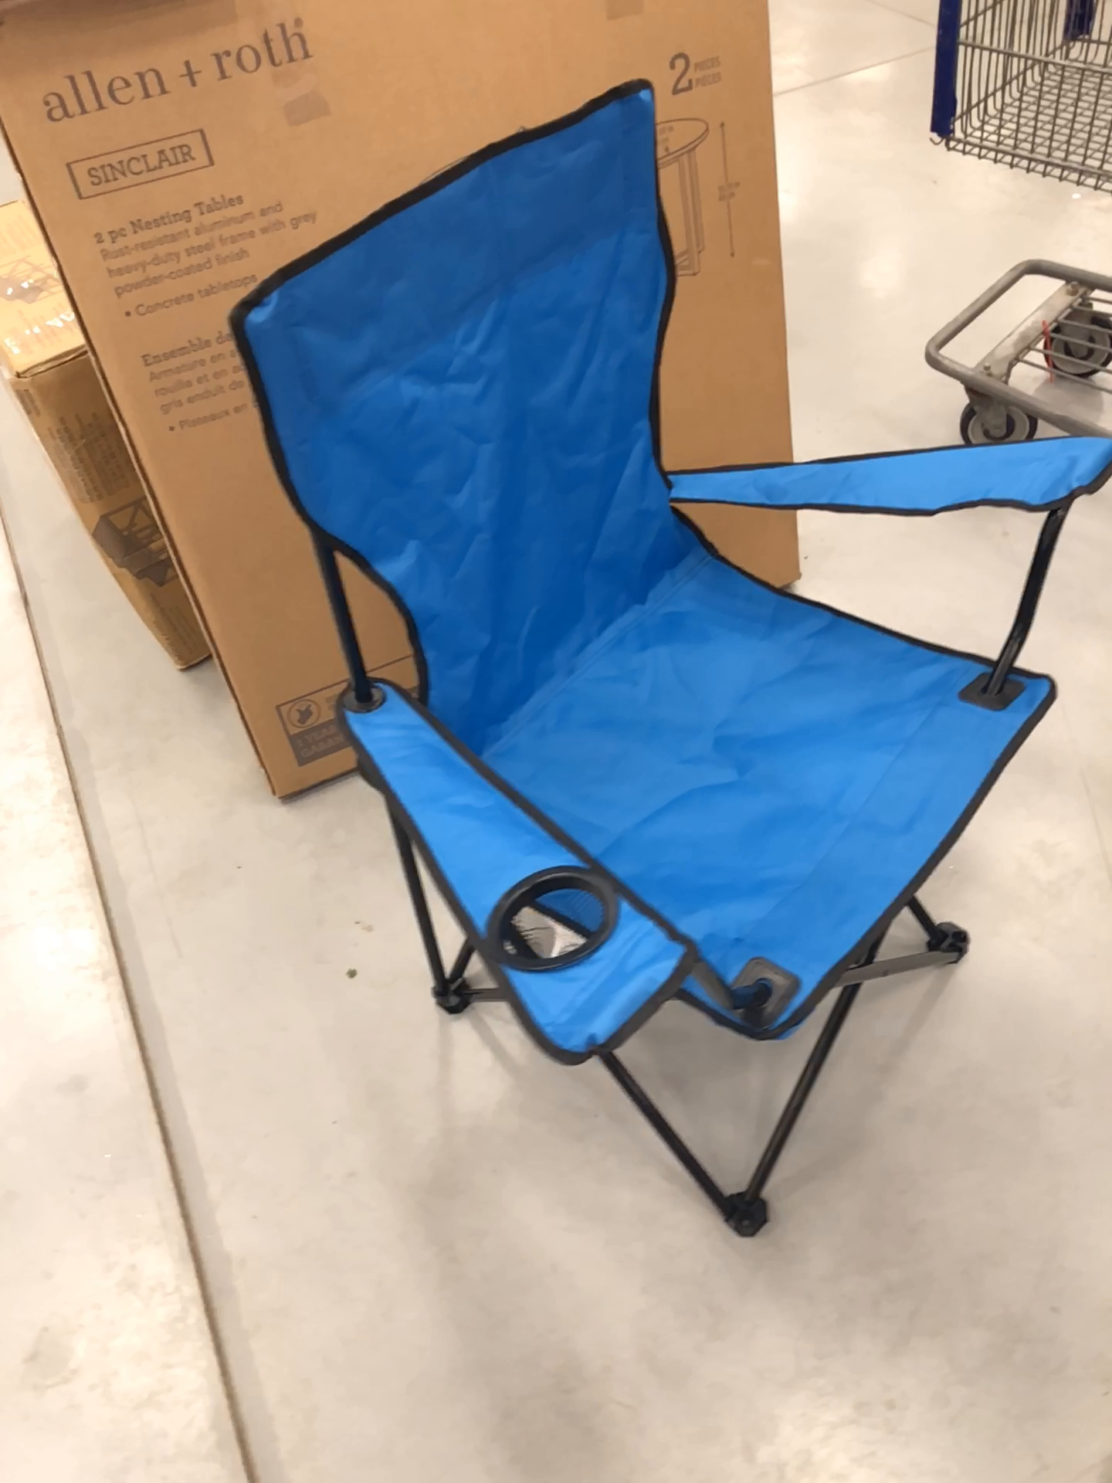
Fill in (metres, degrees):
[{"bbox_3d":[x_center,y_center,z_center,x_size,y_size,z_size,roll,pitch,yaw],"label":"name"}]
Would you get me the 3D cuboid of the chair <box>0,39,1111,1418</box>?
[{"bbox_3d":[0.101,-0.038,1.156,0.621,0.837,0.791,29,56,30],"label":"chair"}]
